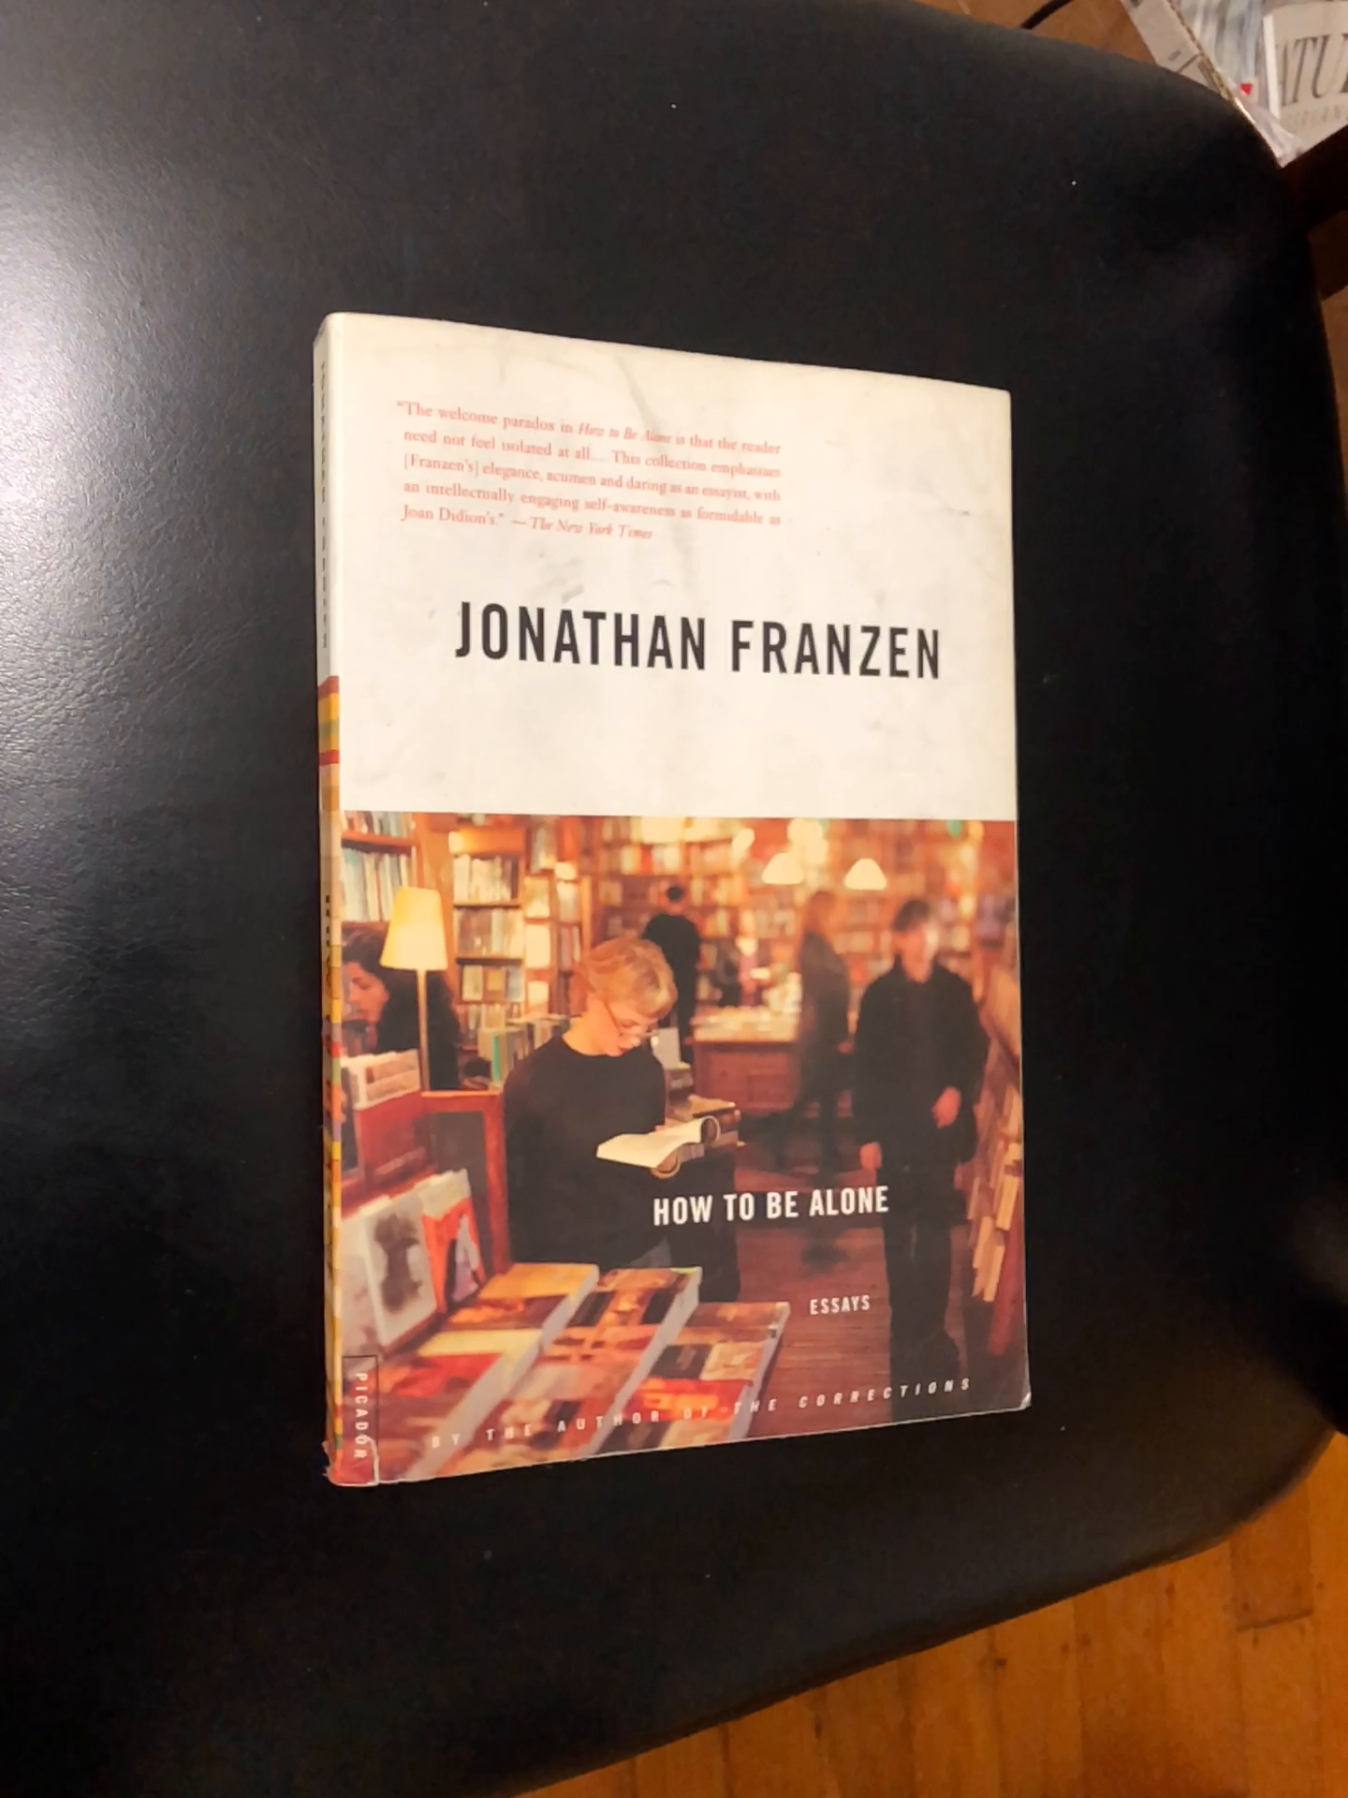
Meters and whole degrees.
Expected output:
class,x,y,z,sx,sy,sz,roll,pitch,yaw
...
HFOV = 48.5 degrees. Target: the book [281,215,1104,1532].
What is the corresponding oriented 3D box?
class,x,y,z,sx,sy,sz,roll,pitch,yaw
book,0.004,-0.004,0.301,0.160,0.040,0.230,0,90,-15
